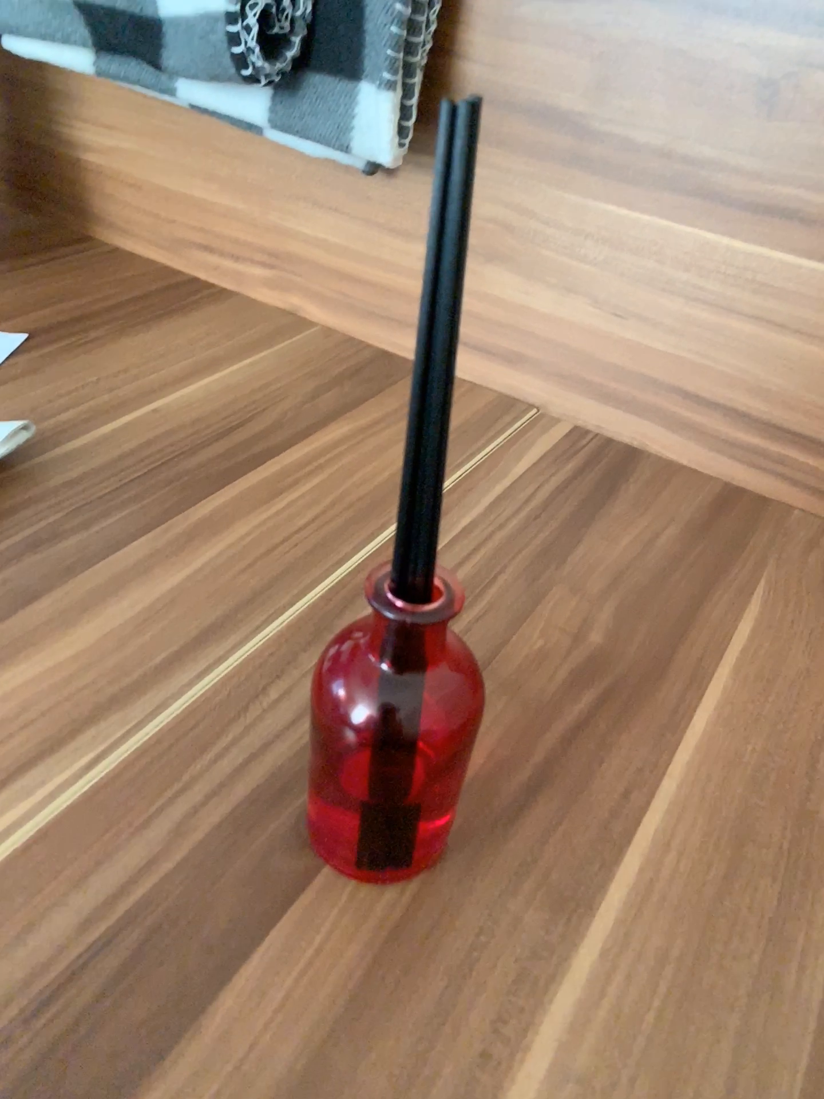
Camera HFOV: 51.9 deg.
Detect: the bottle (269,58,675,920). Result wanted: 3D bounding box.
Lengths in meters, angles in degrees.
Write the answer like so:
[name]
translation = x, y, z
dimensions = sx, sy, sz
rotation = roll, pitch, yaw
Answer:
[bottle]
translation = 0.001, 0.005, 0.238
dimensions = 0.060, 0.239, 0.050
rotation = 29, 42, 25
